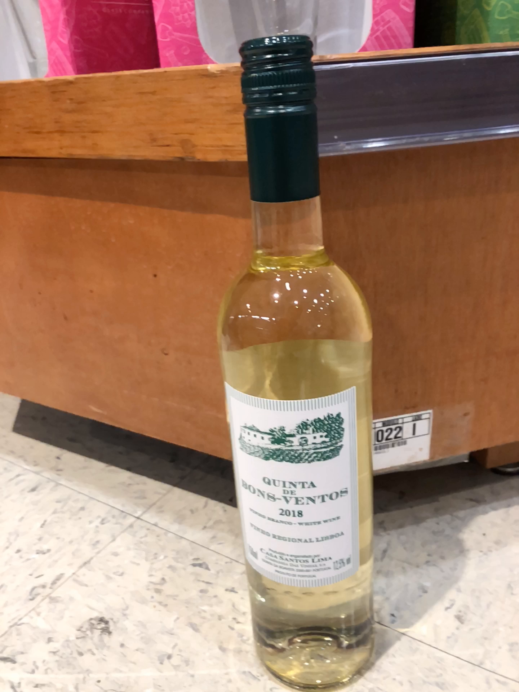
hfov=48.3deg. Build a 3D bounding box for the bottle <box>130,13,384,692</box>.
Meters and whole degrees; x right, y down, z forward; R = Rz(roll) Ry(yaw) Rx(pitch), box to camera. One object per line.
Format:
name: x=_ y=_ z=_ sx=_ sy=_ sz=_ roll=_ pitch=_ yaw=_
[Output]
bottle: x=0.017 y=0.026 z=0.276 sx=0.080 sy=0.308 sz=0.081 roll=-4 pitch=23 yaw=2
